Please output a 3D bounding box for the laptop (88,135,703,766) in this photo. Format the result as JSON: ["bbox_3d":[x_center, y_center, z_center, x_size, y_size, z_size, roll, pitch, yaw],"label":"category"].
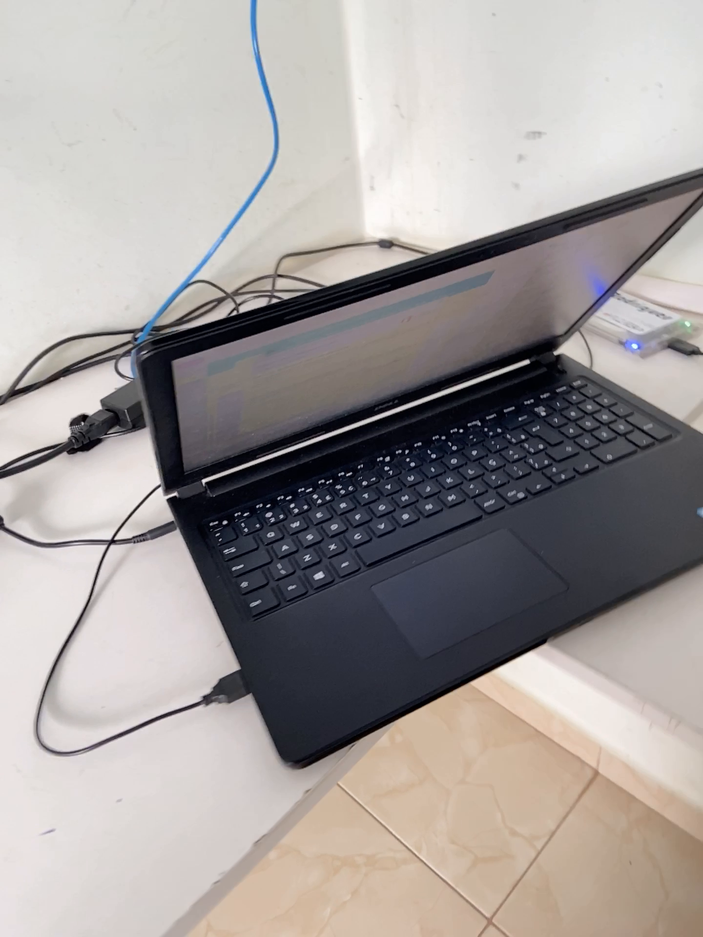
[{"bbox_3d":[0.067,-0.056,0.462,0.372,0.192,0.256,-21,37,-18],"label":"laptop"}]
